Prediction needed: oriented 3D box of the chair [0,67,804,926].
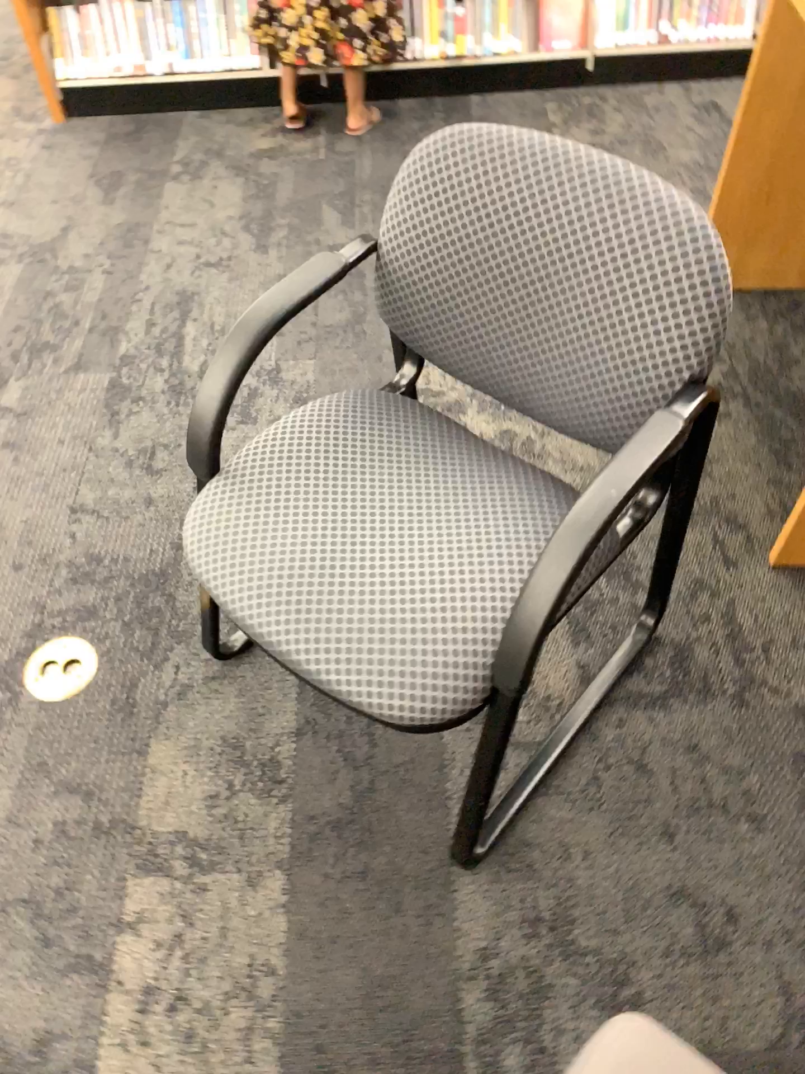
[{"bbox_3d":[0.077,-0.088,1.165,0.732,0.677,0.721,33,60,26],"label":"chair"}]
